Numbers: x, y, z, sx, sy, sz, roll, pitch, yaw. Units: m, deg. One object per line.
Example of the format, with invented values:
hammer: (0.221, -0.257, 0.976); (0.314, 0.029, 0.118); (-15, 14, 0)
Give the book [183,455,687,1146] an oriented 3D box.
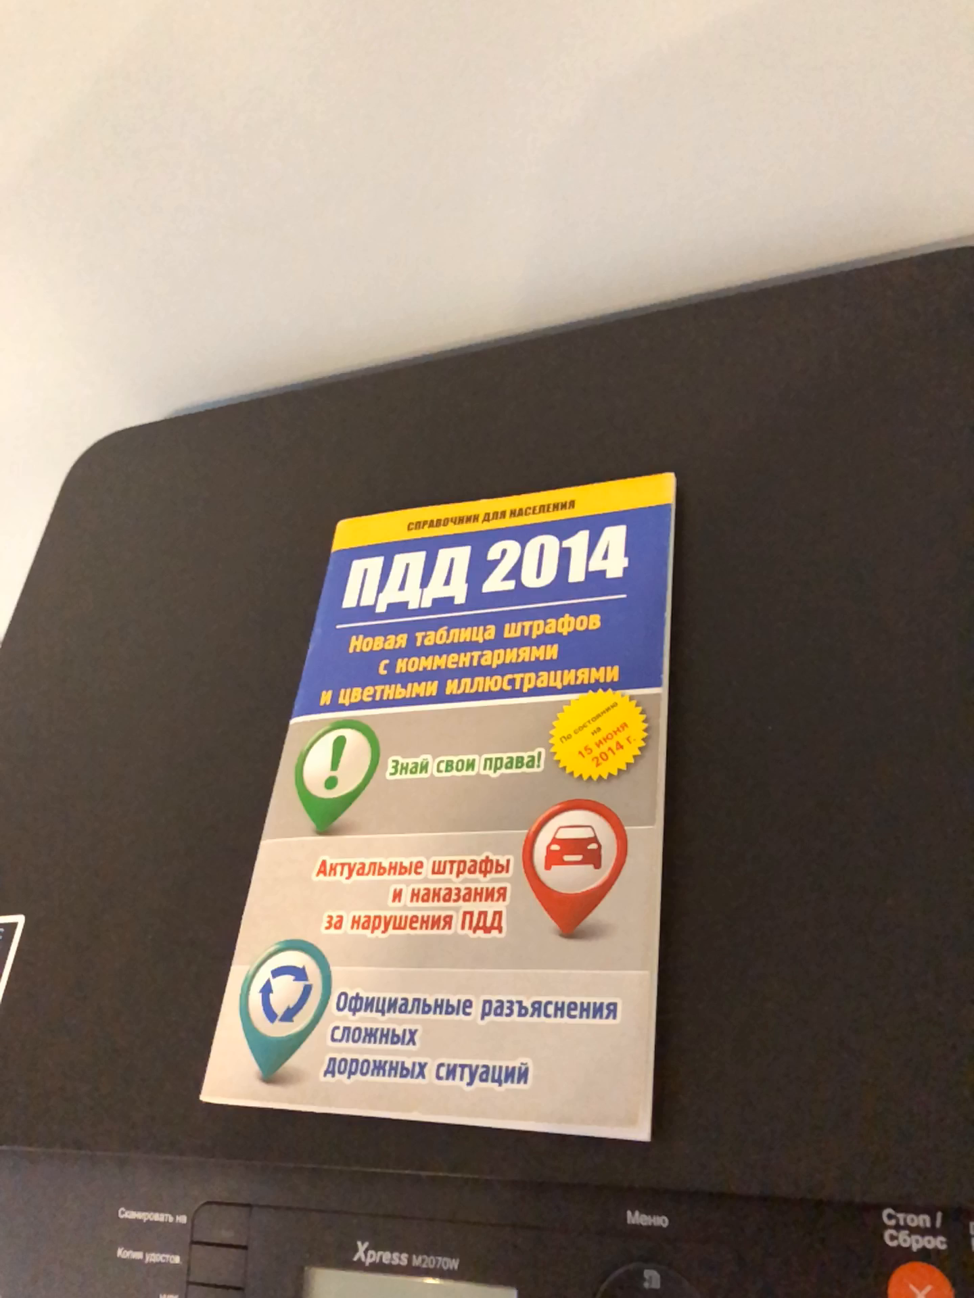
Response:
book: (-0.008, 0.032, 0.319); (0.130, 0.010, 0.201); (-6, 57, 21)
